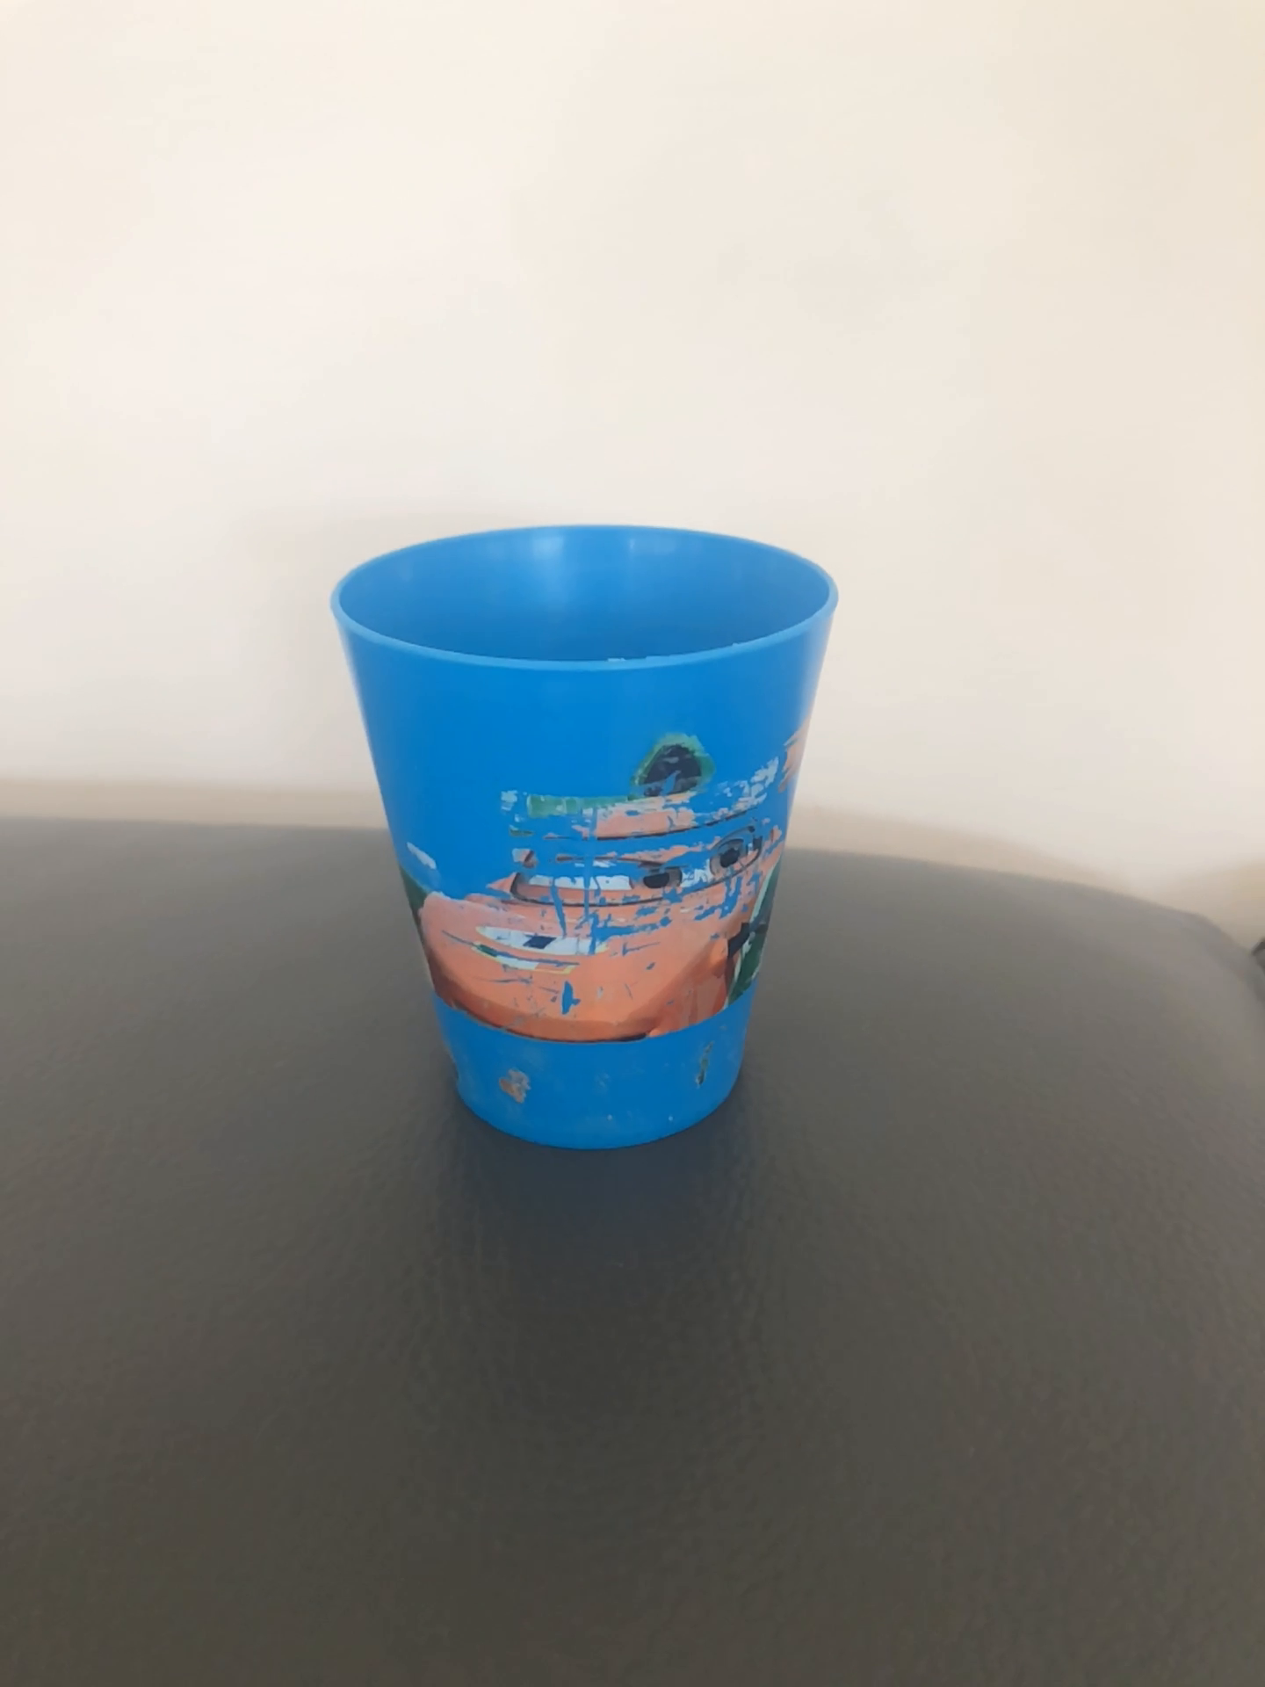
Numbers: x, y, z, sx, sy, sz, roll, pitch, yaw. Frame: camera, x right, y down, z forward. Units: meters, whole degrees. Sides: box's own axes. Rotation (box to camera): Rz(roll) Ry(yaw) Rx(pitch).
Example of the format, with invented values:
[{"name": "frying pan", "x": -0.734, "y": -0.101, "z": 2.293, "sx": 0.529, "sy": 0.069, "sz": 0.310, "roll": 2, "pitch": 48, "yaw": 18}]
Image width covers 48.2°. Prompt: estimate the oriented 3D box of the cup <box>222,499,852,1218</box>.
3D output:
[{"name": "cup", "x": -0.012, "y": -0.002, "z": 0.235, "sx": 0.080, "sy": 0.090, "sz": 0.080, "roll": 1, "pitch": 27, "yaw": 0}]
